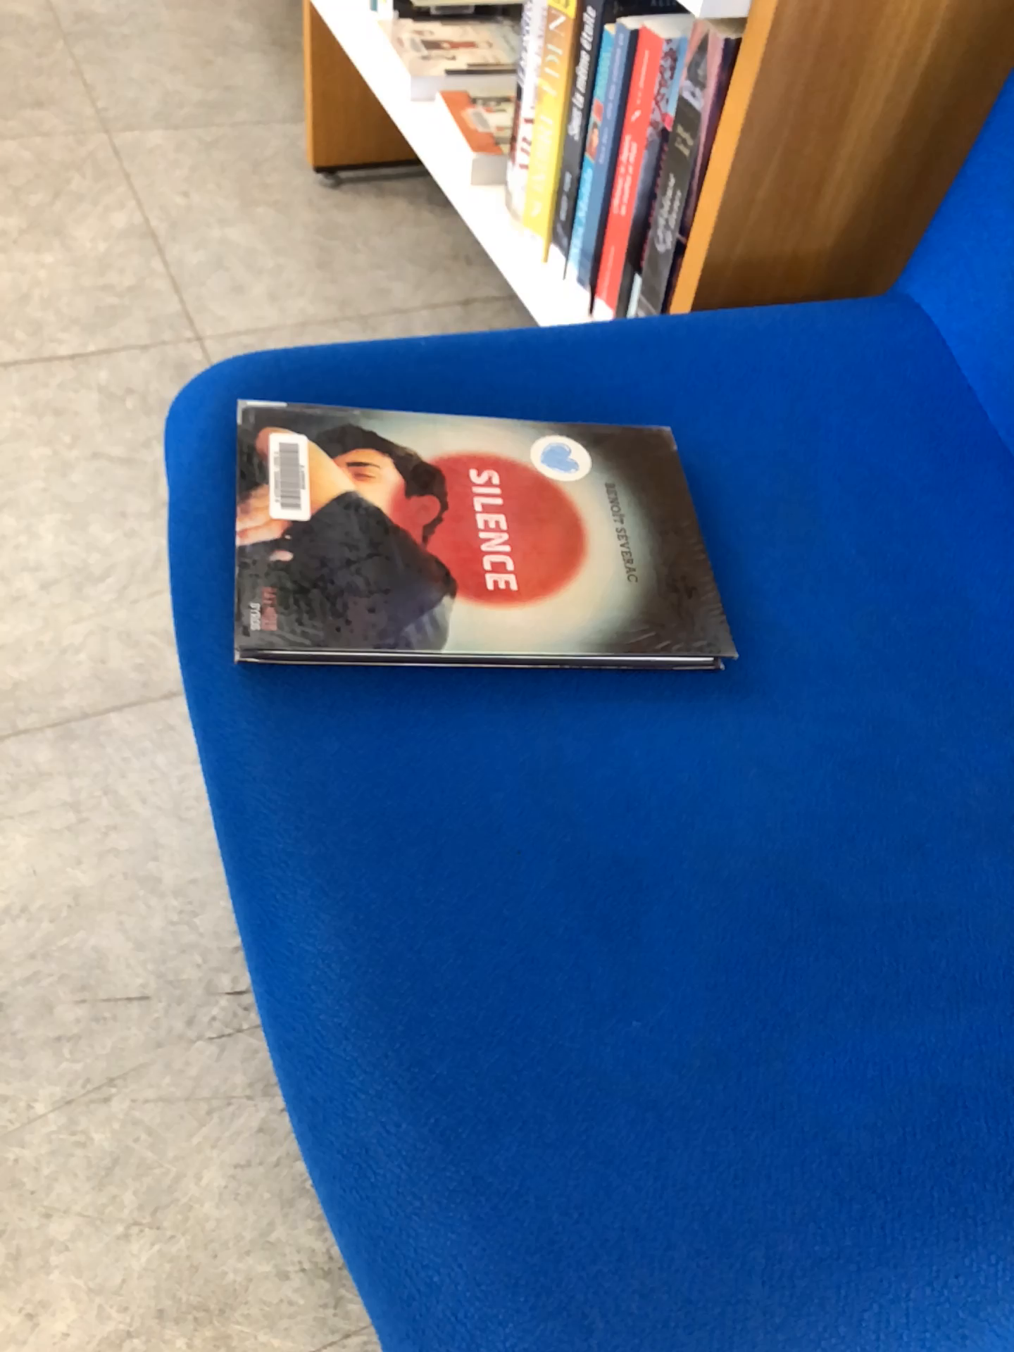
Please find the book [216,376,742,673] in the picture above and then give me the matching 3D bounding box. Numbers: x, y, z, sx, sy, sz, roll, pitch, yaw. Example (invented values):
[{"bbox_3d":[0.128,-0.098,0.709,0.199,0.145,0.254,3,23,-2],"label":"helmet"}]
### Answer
[{"bbox_3d":[-0.016,-0.069,0.495,0.211,0.023,0.147,1,53,-12],"label":"book"}]
